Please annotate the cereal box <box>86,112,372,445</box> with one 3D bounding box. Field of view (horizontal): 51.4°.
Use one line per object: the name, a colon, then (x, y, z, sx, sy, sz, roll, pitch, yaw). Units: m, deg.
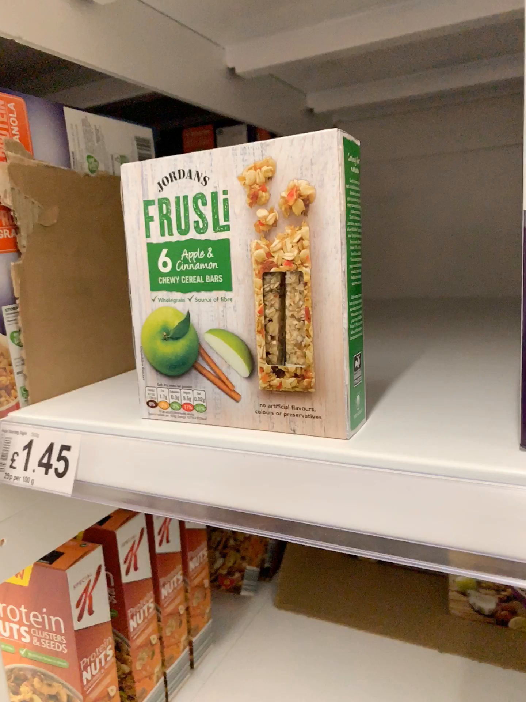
cereal box: (-0.019, -0.038, 0.319, 0.150, 0.159, 0.050, 1, 11, 27)
